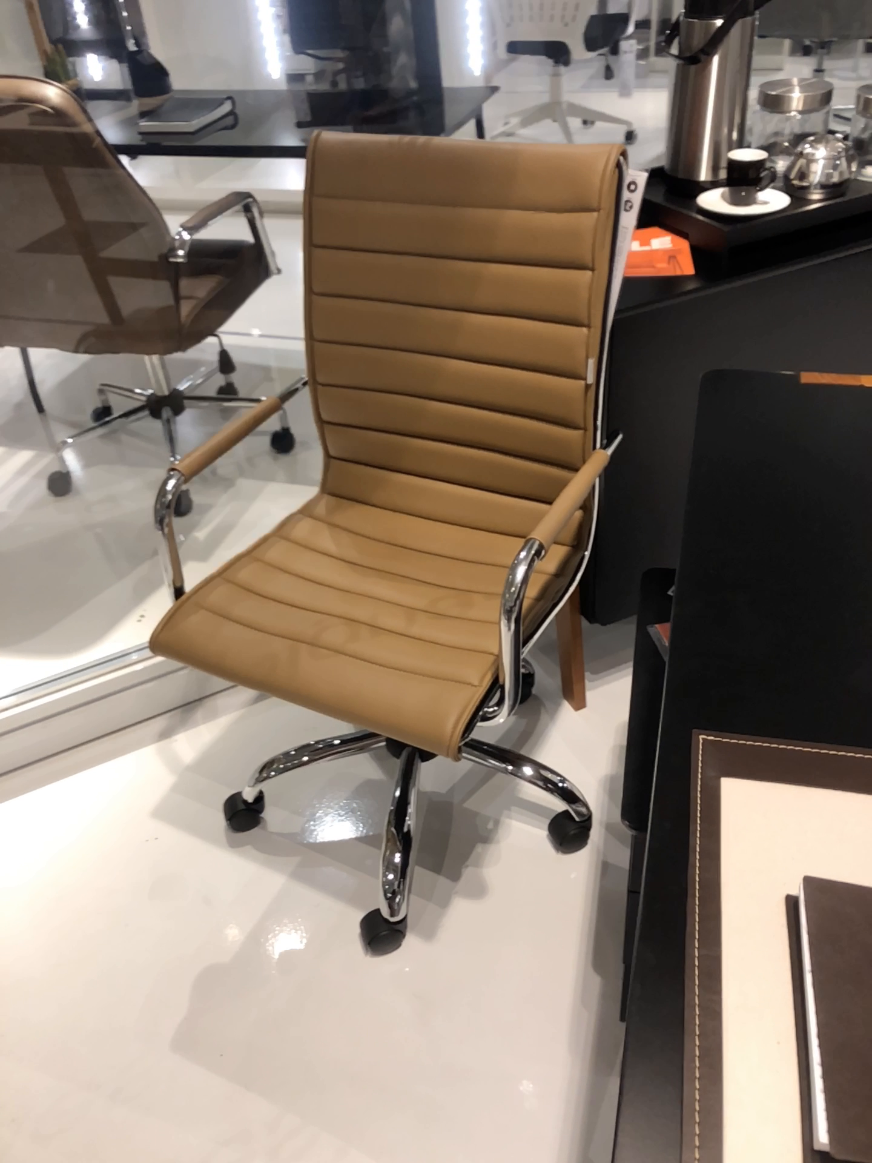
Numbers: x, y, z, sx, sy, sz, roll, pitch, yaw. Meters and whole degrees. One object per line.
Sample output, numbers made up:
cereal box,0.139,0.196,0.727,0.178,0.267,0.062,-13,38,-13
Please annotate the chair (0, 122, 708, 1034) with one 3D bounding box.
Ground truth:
chair,-0.063,-0.029,1.309,0.601,0.943,0.613,16,42,25
